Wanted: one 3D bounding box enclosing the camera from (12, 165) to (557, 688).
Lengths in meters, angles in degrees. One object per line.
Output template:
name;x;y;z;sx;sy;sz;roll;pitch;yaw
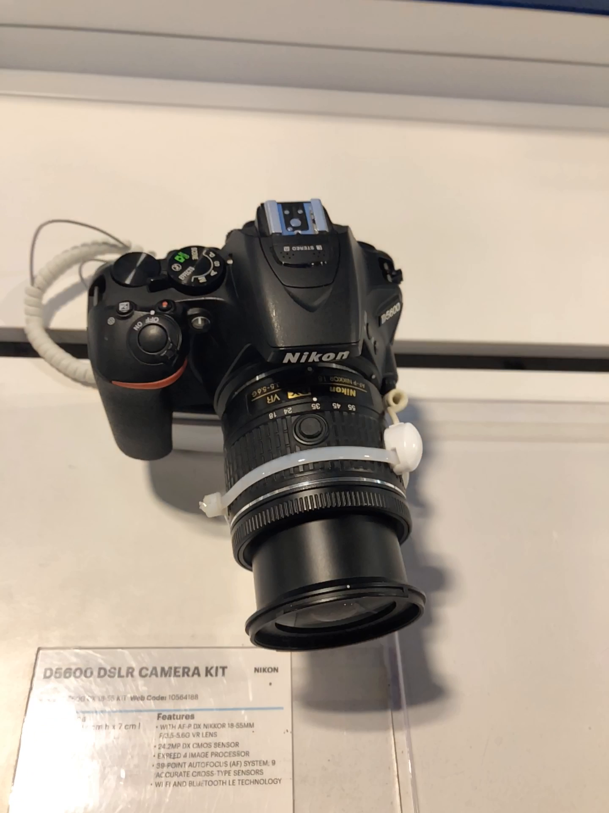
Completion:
camera;-0.015;0.001;0.240;0.130;0.090;0.151;-4;55;-8
